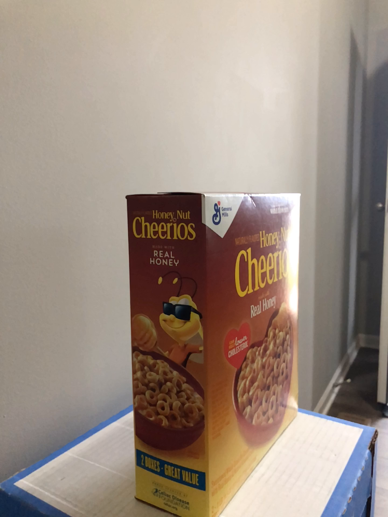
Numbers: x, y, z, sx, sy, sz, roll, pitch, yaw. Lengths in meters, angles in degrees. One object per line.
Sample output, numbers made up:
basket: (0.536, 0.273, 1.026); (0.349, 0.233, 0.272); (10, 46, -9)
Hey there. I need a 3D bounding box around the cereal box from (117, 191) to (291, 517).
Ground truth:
cereal box: (0.029, 0.083, 0.487); (0.080, 0.310, 0.240); (4, 8, 31)
